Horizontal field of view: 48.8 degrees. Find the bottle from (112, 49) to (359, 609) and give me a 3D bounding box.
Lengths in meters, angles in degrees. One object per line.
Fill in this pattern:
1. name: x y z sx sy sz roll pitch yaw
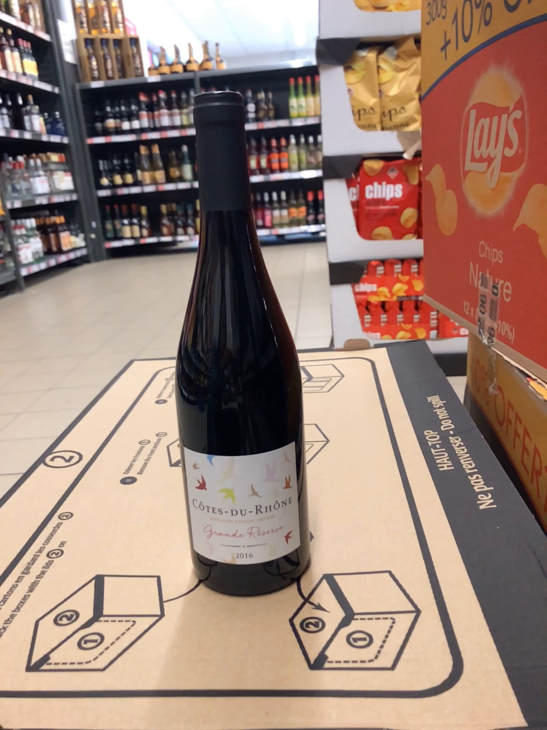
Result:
1. bottle: -0.013 -0.014 0.359 0.100 0.289 0.090 -5 14 1
